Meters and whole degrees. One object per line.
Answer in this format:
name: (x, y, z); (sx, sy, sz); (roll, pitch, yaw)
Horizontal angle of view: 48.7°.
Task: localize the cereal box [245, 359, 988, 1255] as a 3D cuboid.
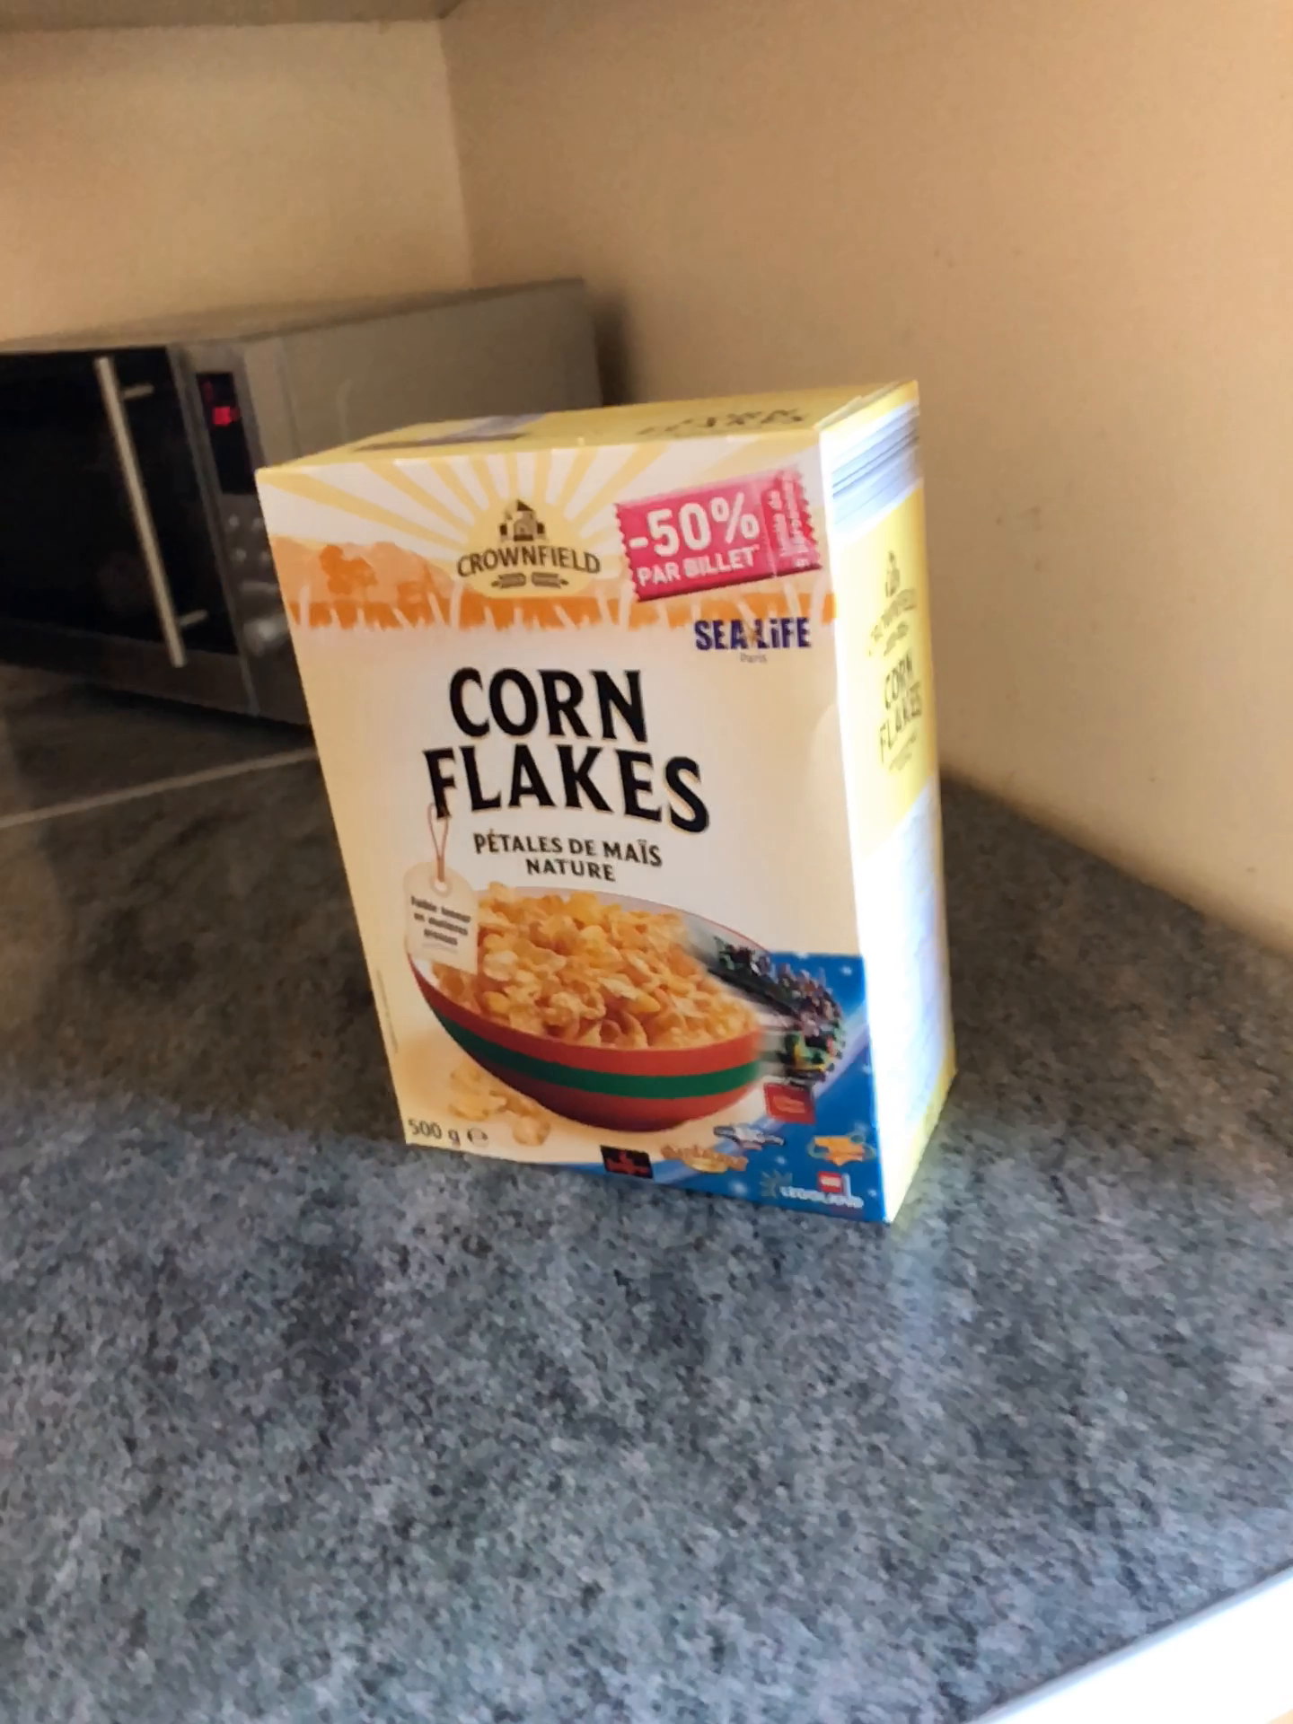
cereal box: (0.003, -0.022, 0.485); (0.200, 0.259, 0.101); (5, 26, 25)
